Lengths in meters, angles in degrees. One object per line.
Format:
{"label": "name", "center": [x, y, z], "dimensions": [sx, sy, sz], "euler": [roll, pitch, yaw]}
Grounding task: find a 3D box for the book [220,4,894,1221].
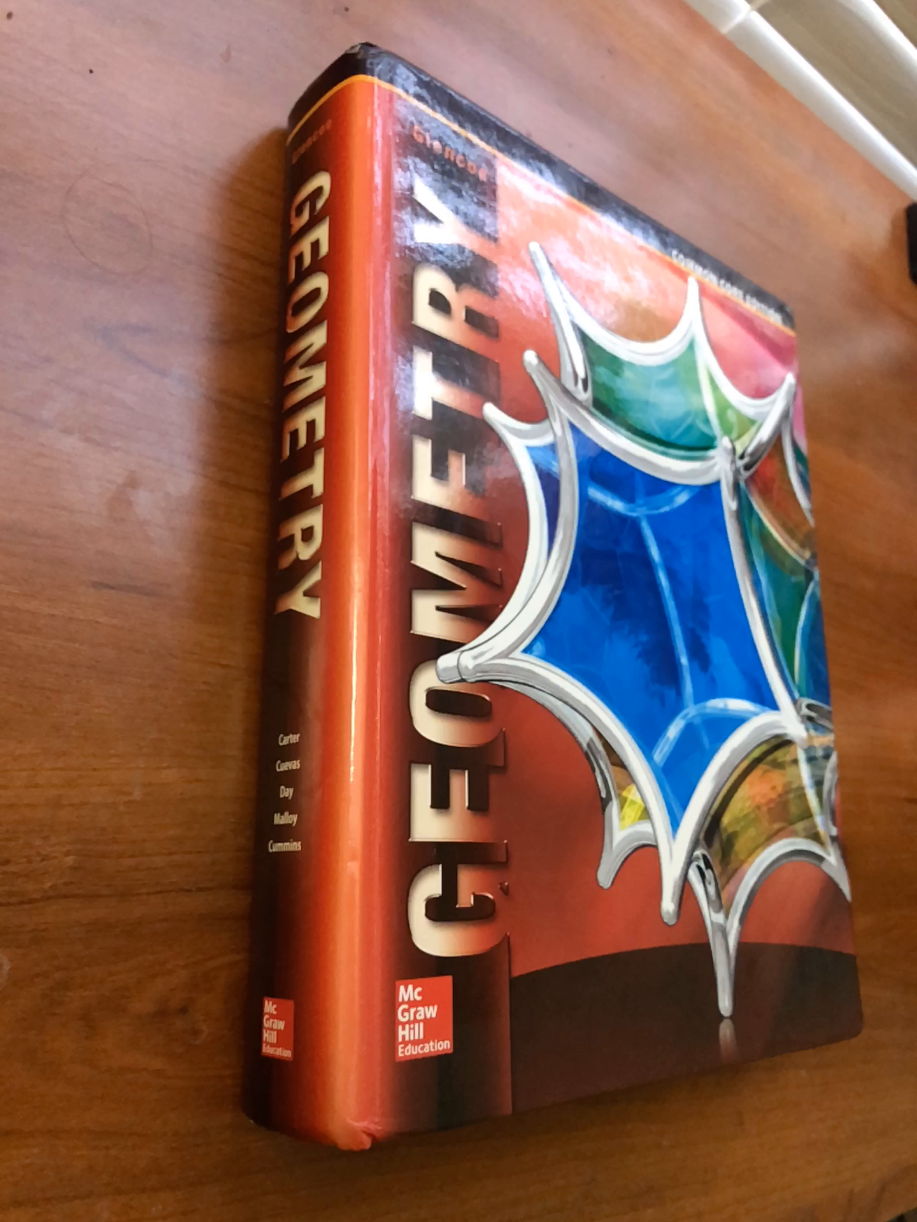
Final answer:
{"label": "book", "center": [0.045, 0.003, 0.337], "dimensions": [0.230, 0.050, 0.310], "euler": [12, 70, -40]}
